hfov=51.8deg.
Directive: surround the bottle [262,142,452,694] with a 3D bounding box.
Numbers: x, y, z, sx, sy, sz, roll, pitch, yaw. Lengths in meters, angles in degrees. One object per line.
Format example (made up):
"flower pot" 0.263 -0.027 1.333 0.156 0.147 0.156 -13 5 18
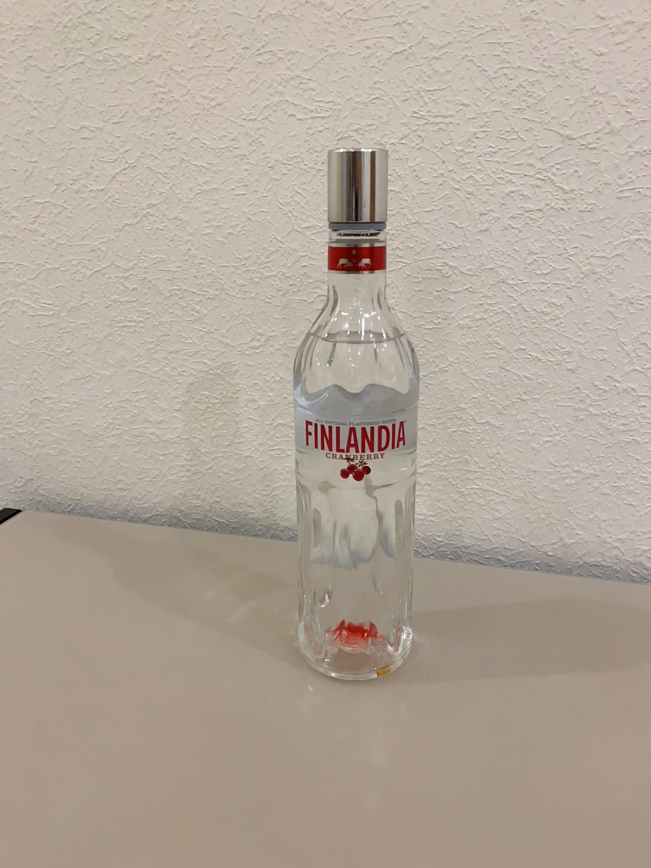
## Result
"bottle" 0.020 -0.005 0.407 0.090 0.309 0.090 0 17 0
